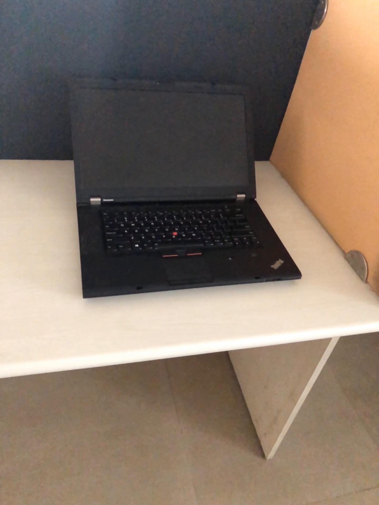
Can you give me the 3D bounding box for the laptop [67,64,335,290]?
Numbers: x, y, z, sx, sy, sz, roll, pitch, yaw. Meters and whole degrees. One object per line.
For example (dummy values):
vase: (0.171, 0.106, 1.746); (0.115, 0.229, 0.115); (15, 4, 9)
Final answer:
laptop: (-0.020, -0.153, 0.748); (0.354, 0.185, 0.381); (-3, 44, -17)
